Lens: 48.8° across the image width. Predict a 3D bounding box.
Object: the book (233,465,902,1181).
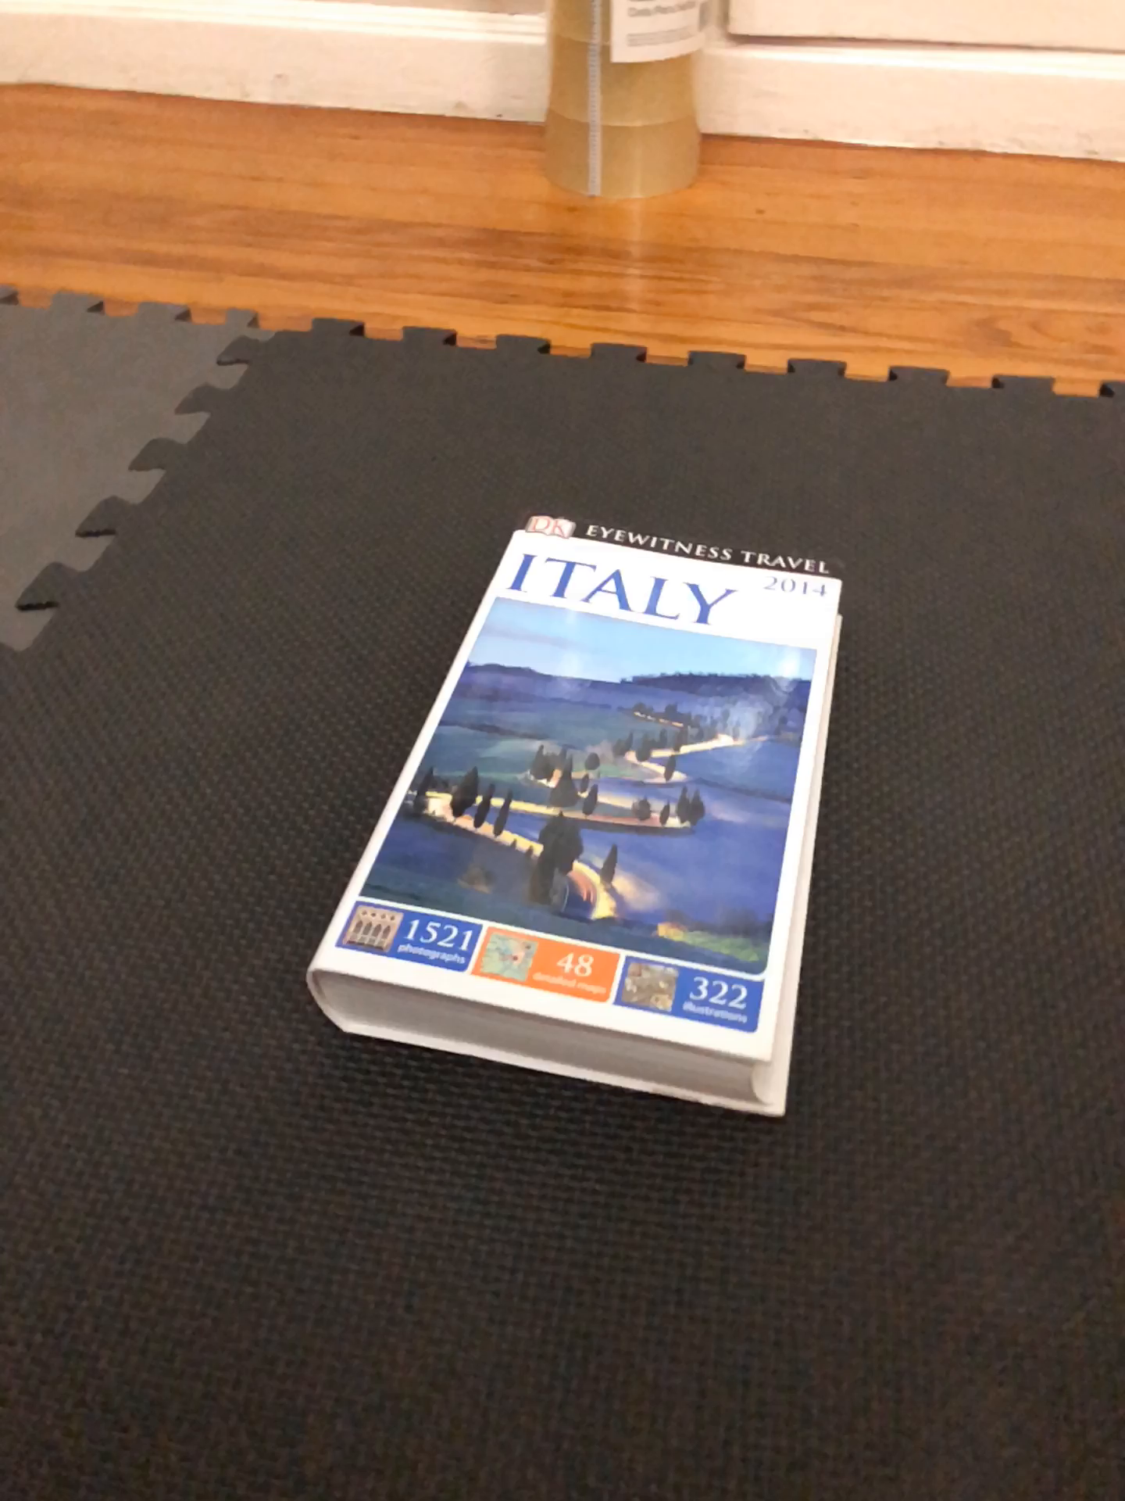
[{"bbox_3d":[0.022,-0.001,0.405,0.160,0.040,0.251,9,45,10],"label":"book"}]
